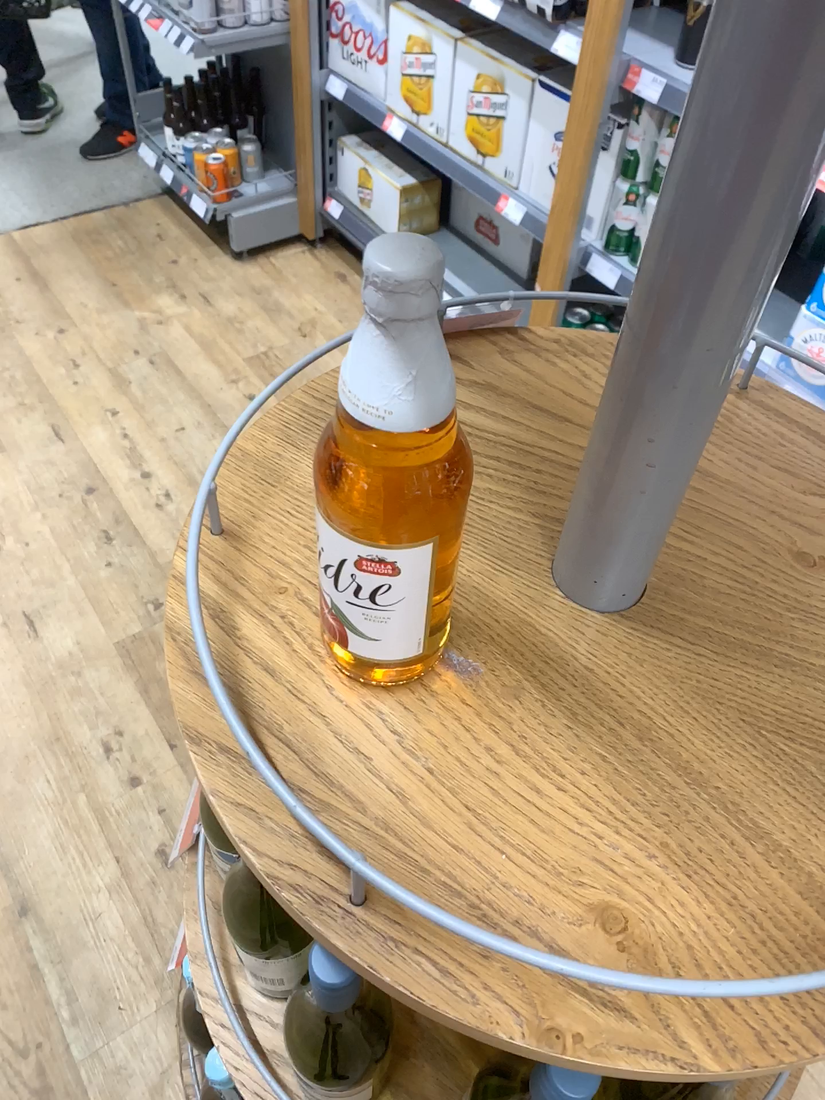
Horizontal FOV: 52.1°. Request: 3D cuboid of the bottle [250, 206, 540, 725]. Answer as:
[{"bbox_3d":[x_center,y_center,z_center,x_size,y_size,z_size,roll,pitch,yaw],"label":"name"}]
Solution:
[{"bbox_3d":[-0.012,-0.021,0.365,0.070,0.218,0.069,2,49,-2],"label":"bottle"}]
